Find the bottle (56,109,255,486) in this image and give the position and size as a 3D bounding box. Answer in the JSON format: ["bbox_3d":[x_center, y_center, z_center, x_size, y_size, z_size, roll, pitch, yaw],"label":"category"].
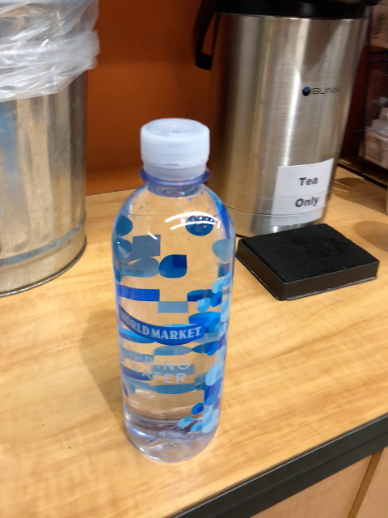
[{"bbox_3d":[-0.015,0.028,0.244,0.070,0.199,0.070,1,31,-1],"label":"bottle"}]
